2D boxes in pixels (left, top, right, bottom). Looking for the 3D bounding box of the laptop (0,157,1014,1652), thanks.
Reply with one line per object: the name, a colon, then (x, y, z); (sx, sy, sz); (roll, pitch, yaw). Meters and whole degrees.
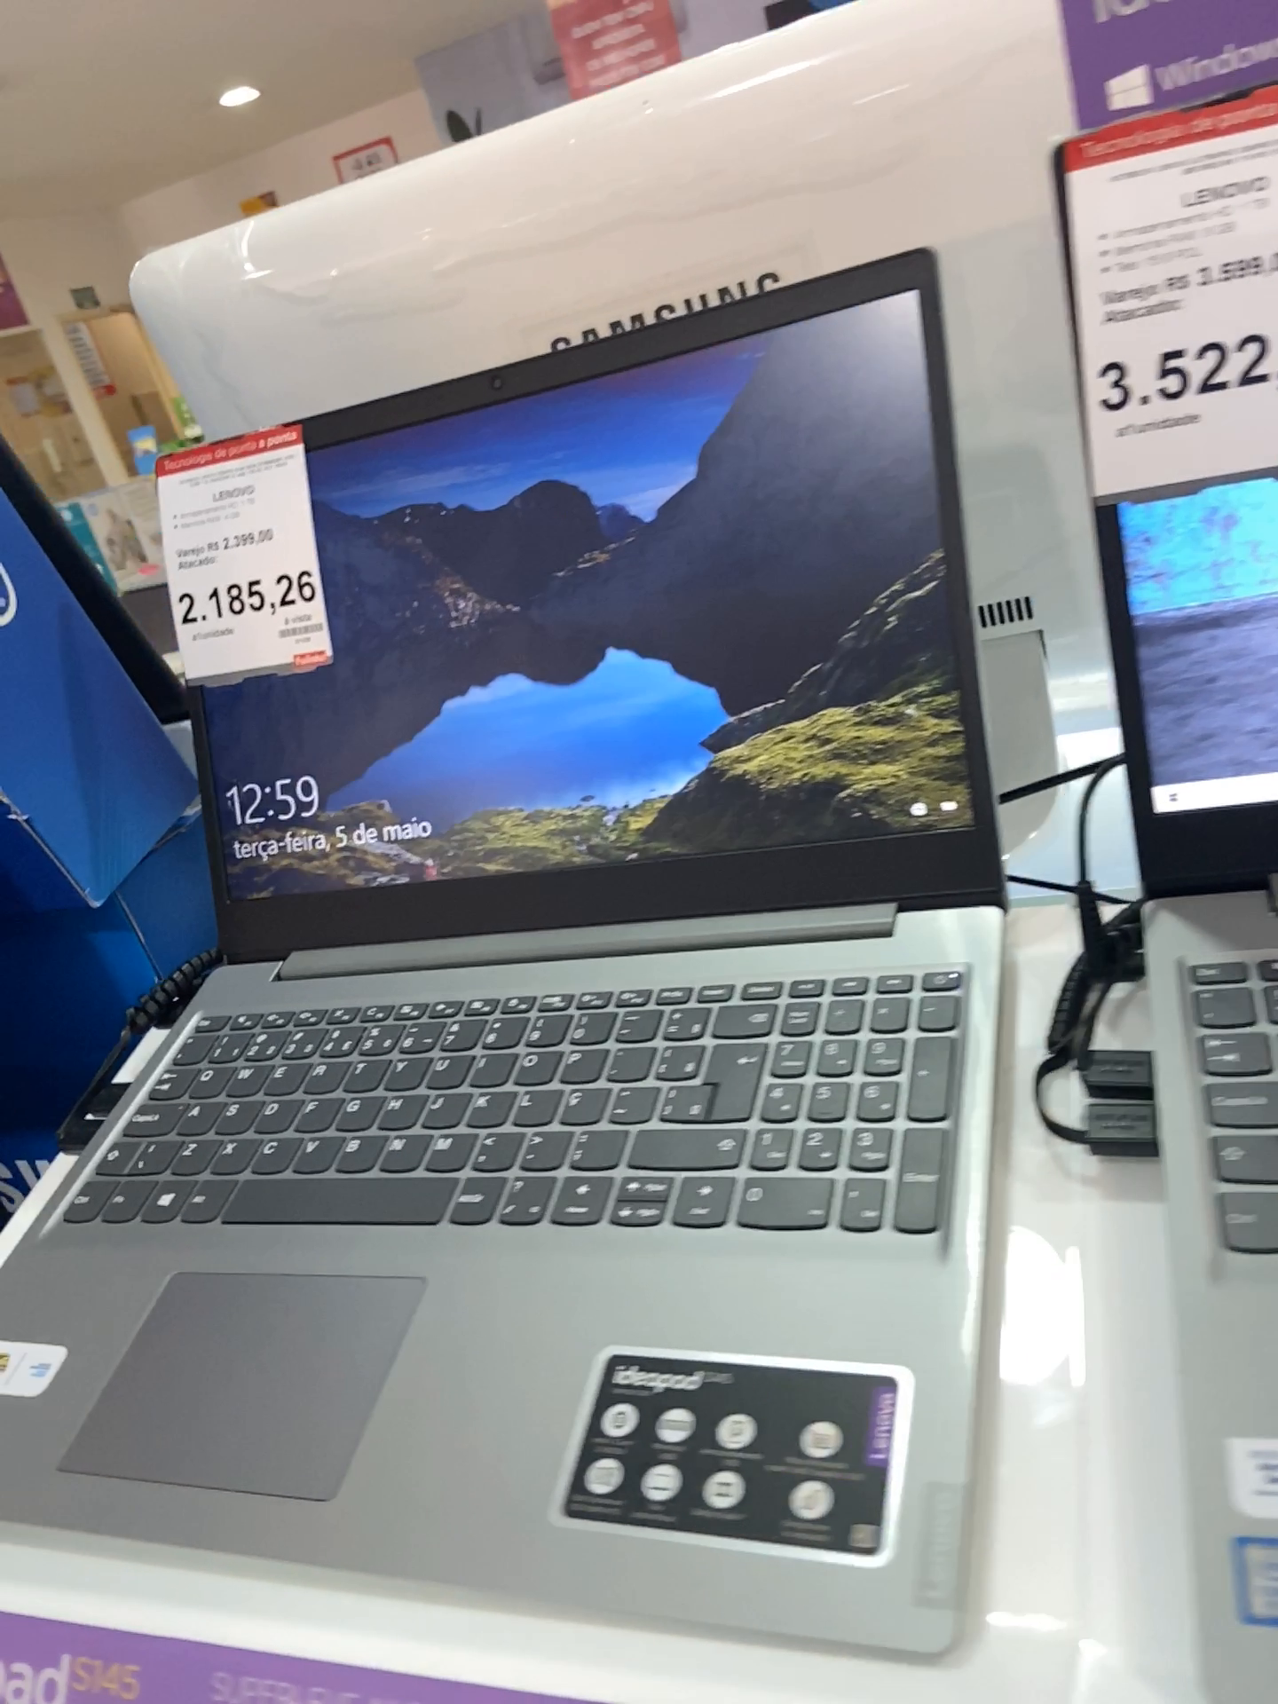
laptop: (-0.079, -0.028, 0.458); (0.358, 0.212, 0.389); (-6, 33, 23)
